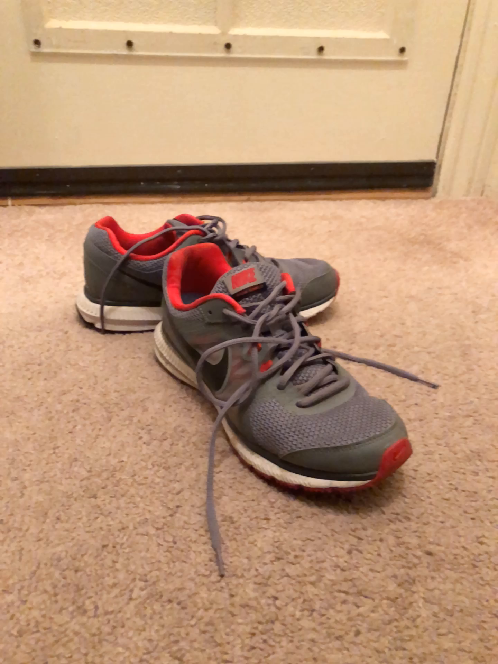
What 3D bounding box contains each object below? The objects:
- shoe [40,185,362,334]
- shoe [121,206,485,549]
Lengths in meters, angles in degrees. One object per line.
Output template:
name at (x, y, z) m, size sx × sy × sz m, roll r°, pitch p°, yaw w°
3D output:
shoe at (-0.047, -0.080, 0.588) m, size 0.297 × 0.119 × 0.114 m, roll -1°, pitch 31°, yaw -5°
shoe at (0.015, 0.006, 0.451) m, size 0.113 × 0.119 × 0.298 m, roll -18°, pitch 37°, yaw -31°
